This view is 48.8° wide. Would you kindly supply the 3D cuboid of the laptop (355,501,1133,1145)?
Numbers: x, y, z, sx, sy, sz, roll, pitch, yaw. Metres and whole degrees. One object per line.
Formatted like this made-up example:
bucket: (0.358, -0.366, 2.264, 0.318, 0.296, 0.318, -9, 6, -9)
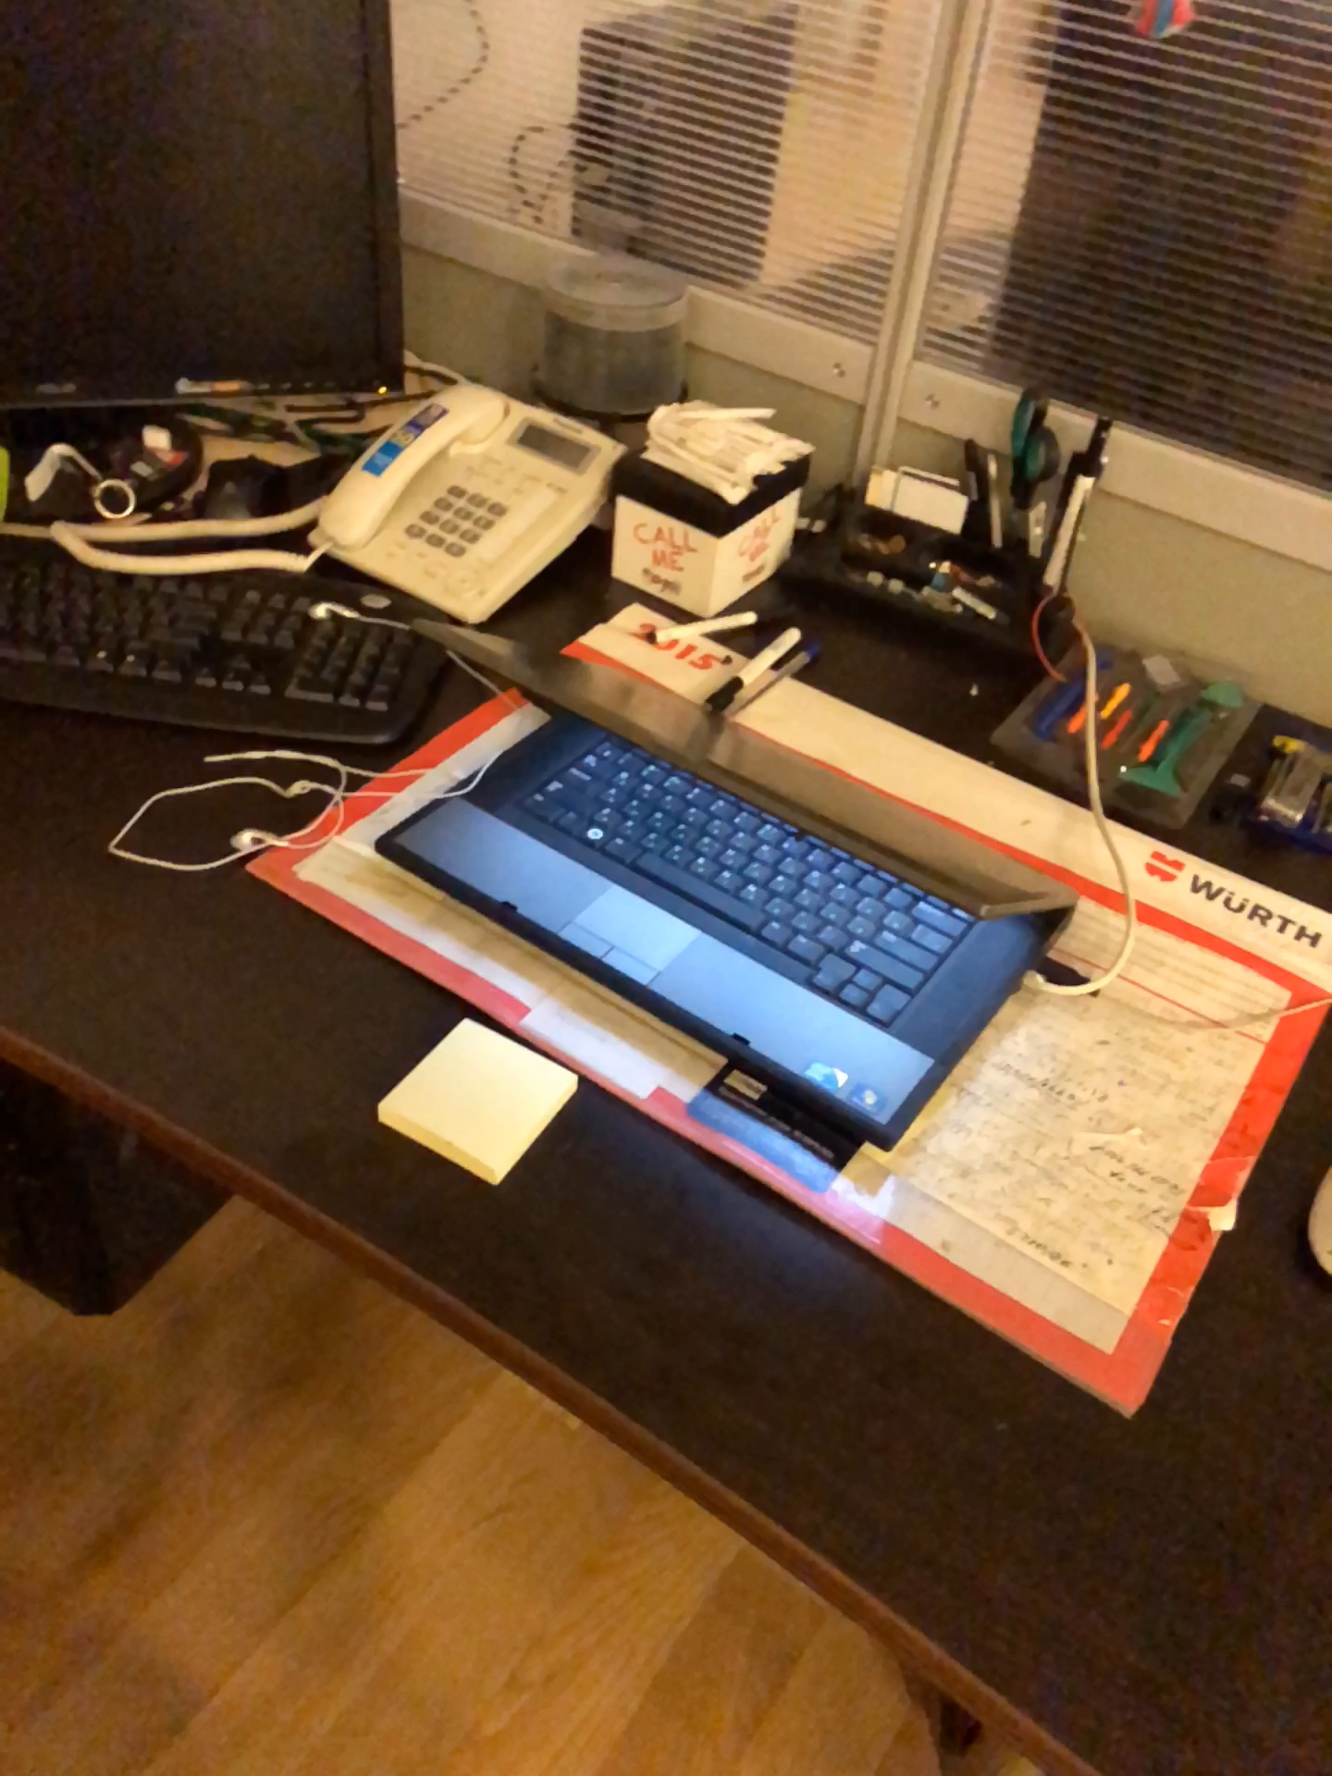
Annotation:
laptop: (0.040, -0.059, 0.852, 0.358, 0.141, 0.240, 29, 45, 22)
